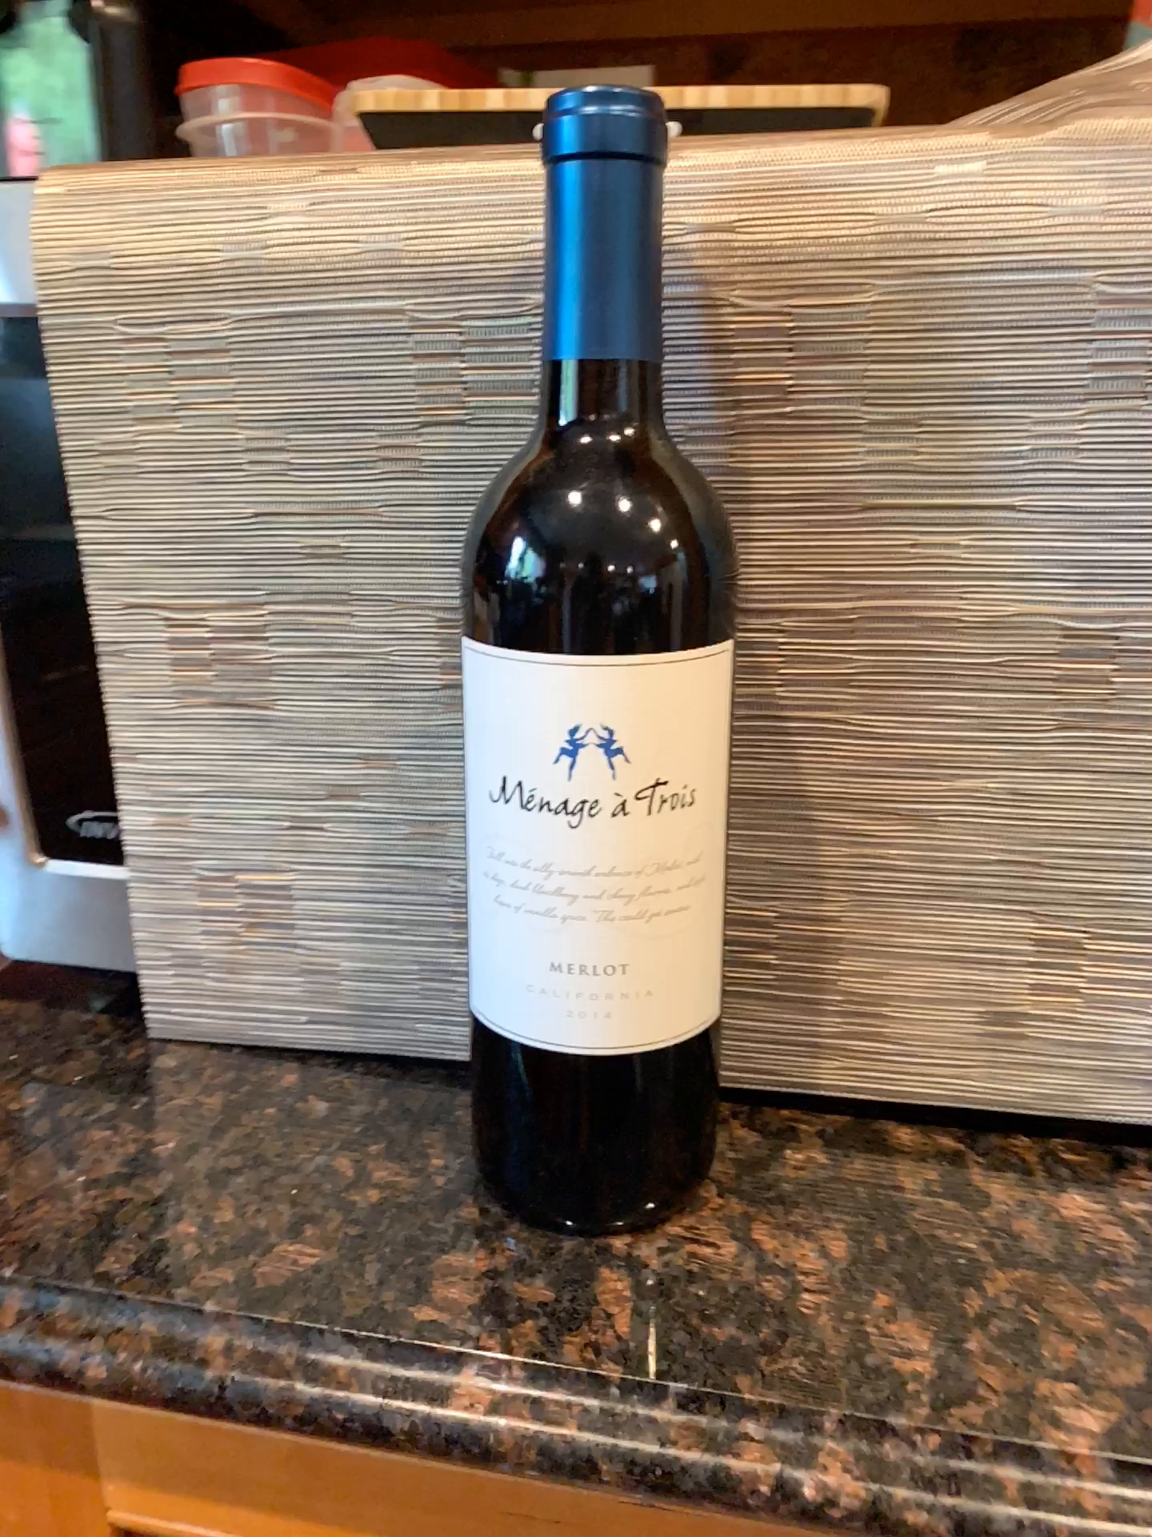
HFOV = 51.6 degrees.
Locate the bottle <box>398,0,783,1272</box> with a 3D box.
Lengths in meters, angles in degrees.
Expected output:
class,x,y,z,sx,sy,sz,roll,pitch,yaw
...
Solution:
class,x,y,z,sx,sy,sz,roll,pitch,yaw
bottle,0.007,-0.024,0.329,0.080,0.309,0.080,0,17,0
